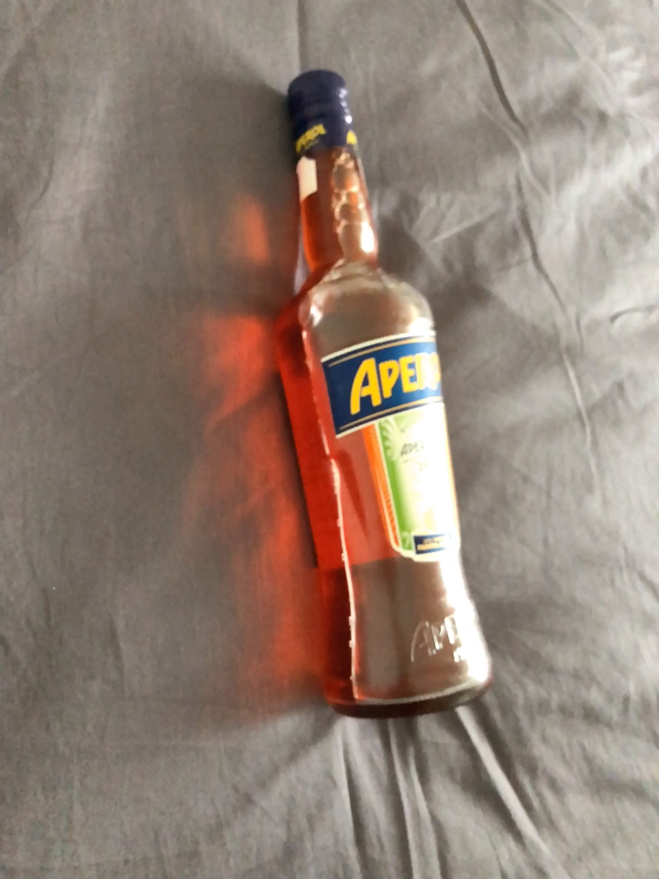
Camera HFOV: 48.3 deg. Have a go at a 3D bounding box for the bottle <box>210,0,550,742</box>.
[{"bbox_3d":[0.019,-0.039,0.355,0.100,0.070,0.320,-3,81,-33],"label":"bottle"}]
